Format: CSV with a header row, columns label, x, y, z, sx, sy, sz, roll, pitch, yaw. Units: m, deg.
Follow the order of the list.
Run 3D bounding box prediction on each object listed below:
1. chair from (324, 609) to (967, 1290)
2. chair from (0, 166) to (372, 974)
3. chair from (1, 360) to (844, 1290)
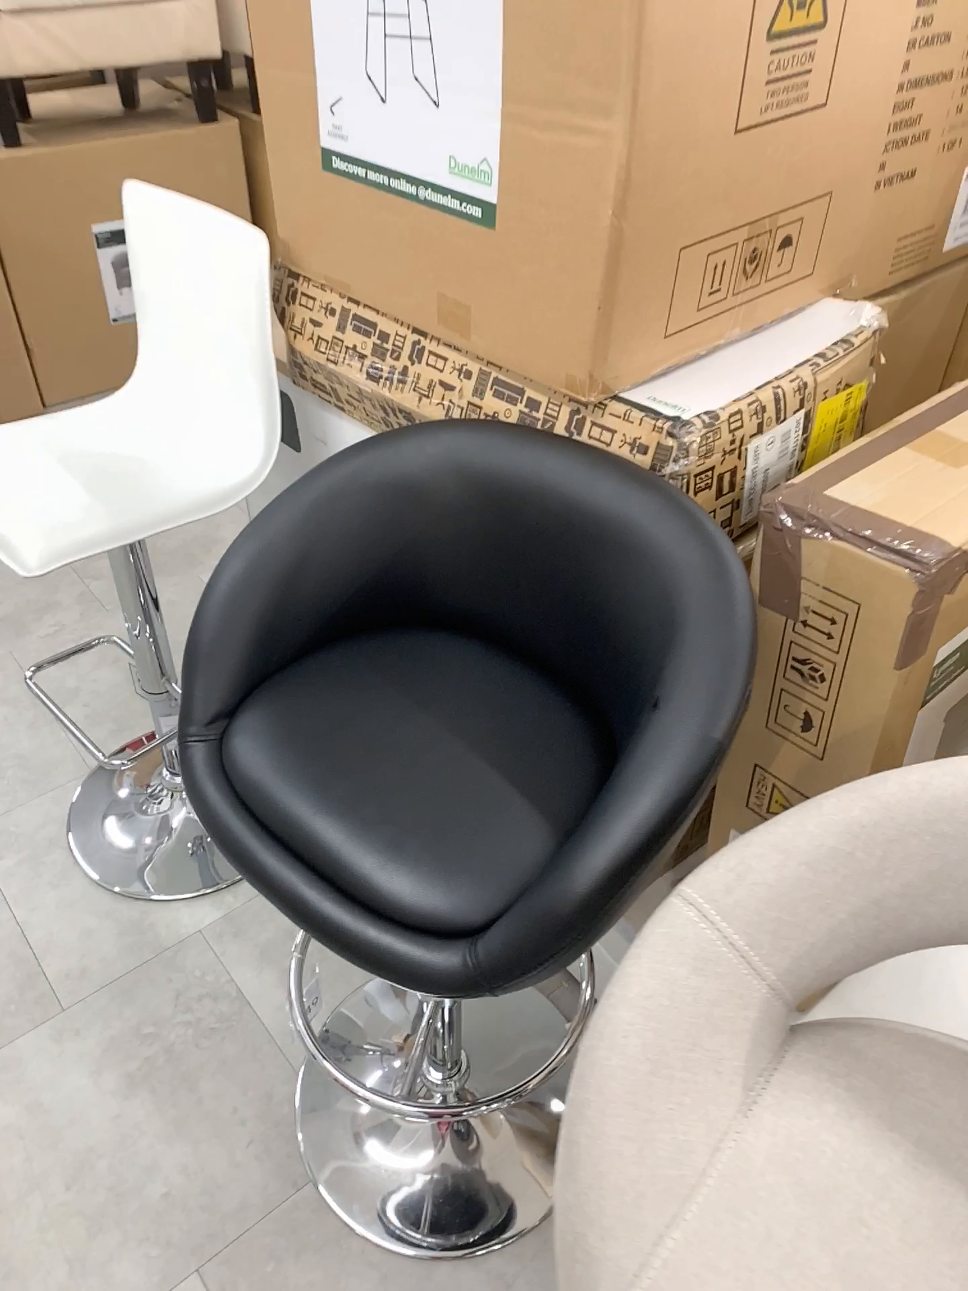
label,x,y,z,sx,sy,sz,roll,pitch,yaw
chair,0.237,0.529,0.694,0.446,0.918,0.432,31,48,31
chair,-0.499,-0.082,1.395,0.446,0.947,0.442,31,48,31
chair,-0.059,0.253,1.030,0.442,0.868,0.476,-31,49,-33
